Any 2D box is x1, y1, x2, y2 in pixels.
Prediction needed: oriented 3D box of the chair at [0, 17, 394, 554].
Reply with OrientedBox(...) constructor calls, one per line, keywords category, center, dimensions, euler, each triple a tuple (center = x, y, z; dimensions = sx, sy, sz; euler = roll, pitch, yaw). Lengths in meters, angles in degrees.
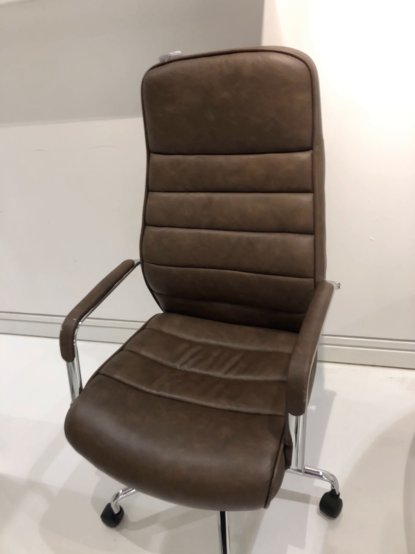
OrientedBox(category="chair", center=(-0.002, 0.114, 1.118), dimensions=(0.701, 1.171, 0.785), euler=(7, 35, 25))
